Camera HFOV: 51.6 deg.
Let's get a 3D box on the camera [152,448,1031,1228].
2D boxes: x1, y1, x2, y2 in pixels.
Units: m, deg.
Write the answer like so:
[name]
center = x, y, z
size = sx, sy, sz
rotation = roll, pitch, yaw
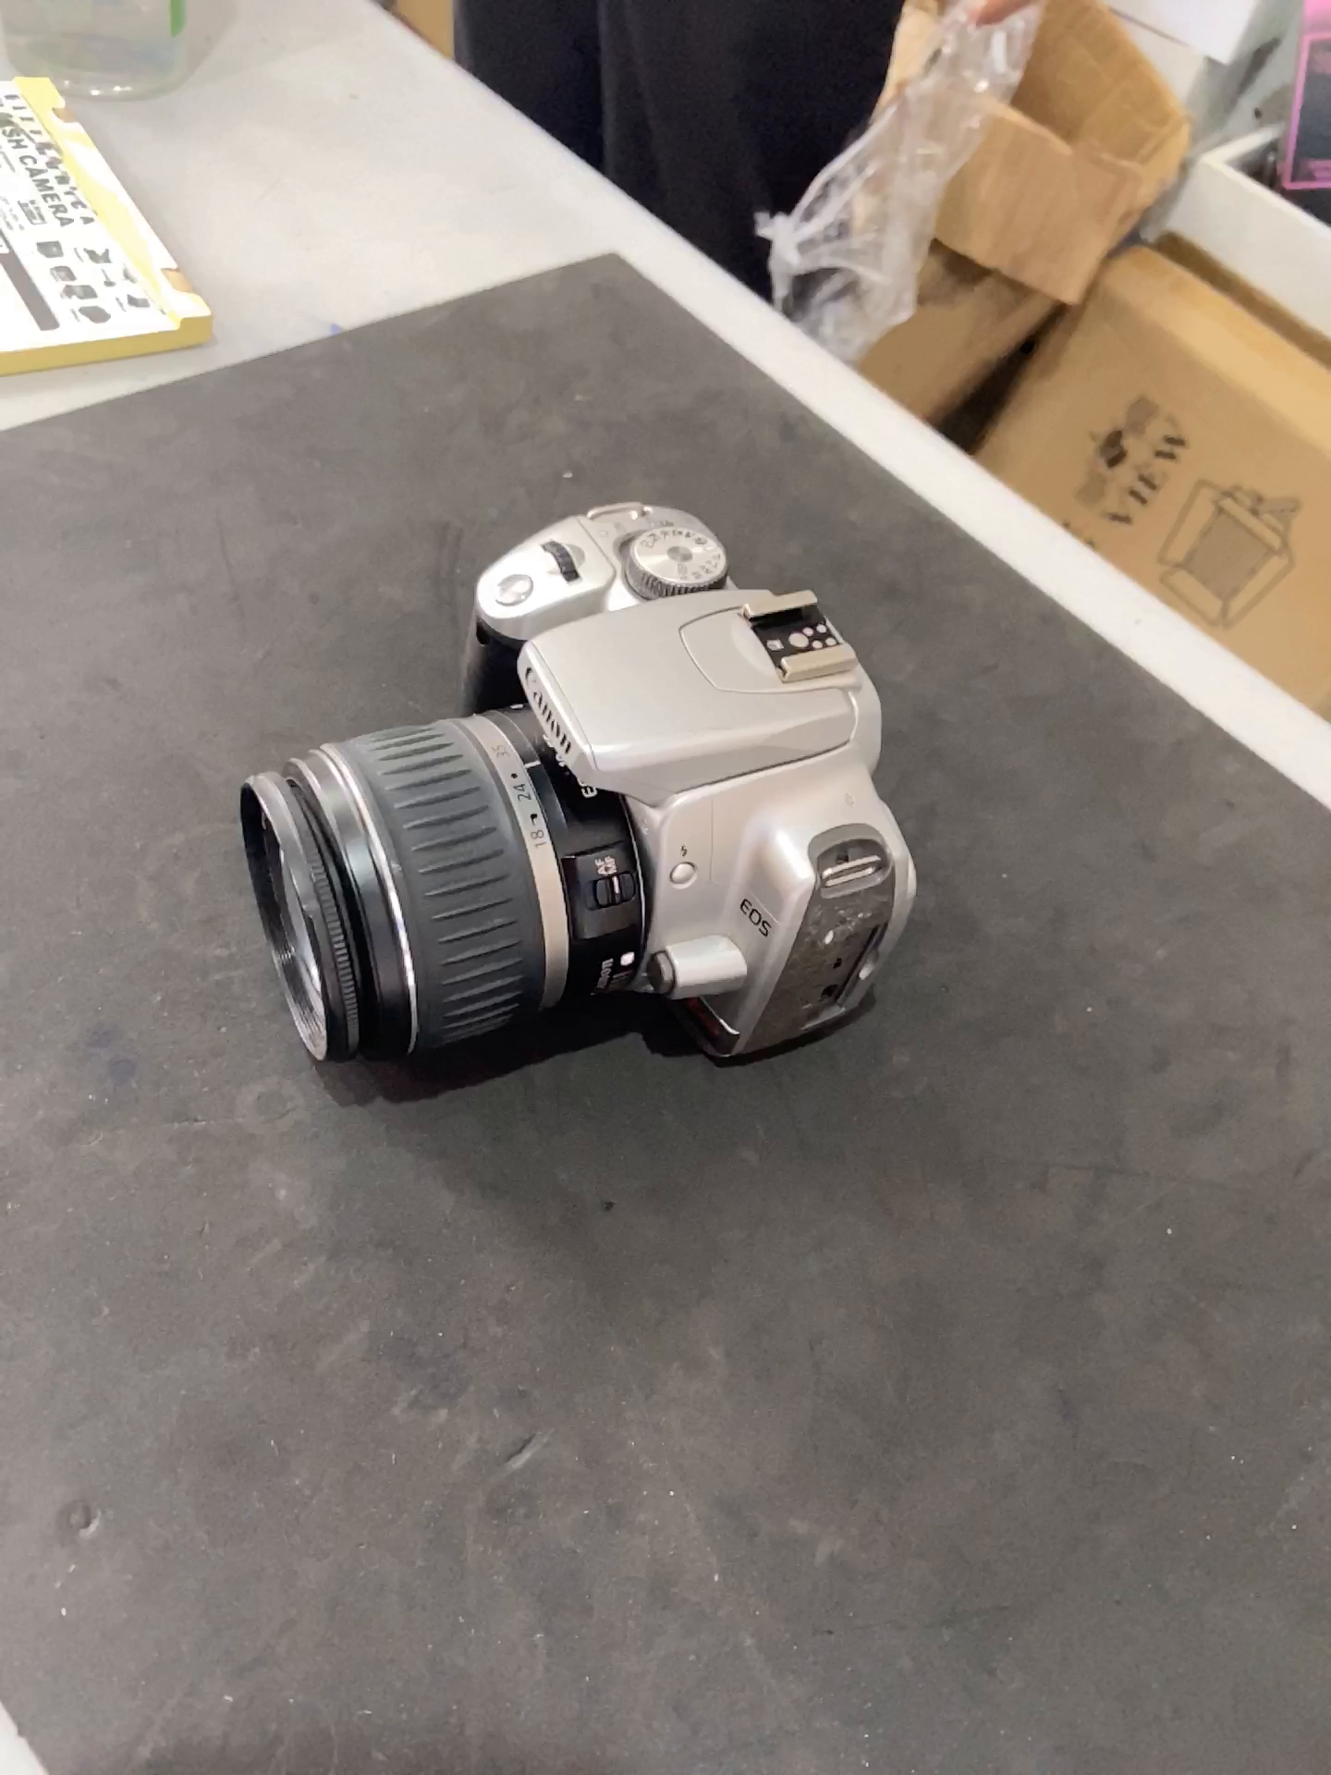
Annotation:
[camera]
center = -0.022, -0.019, 0.308
size = 0.140, 0.080, 0.120
rotation = -18, 59, -27
